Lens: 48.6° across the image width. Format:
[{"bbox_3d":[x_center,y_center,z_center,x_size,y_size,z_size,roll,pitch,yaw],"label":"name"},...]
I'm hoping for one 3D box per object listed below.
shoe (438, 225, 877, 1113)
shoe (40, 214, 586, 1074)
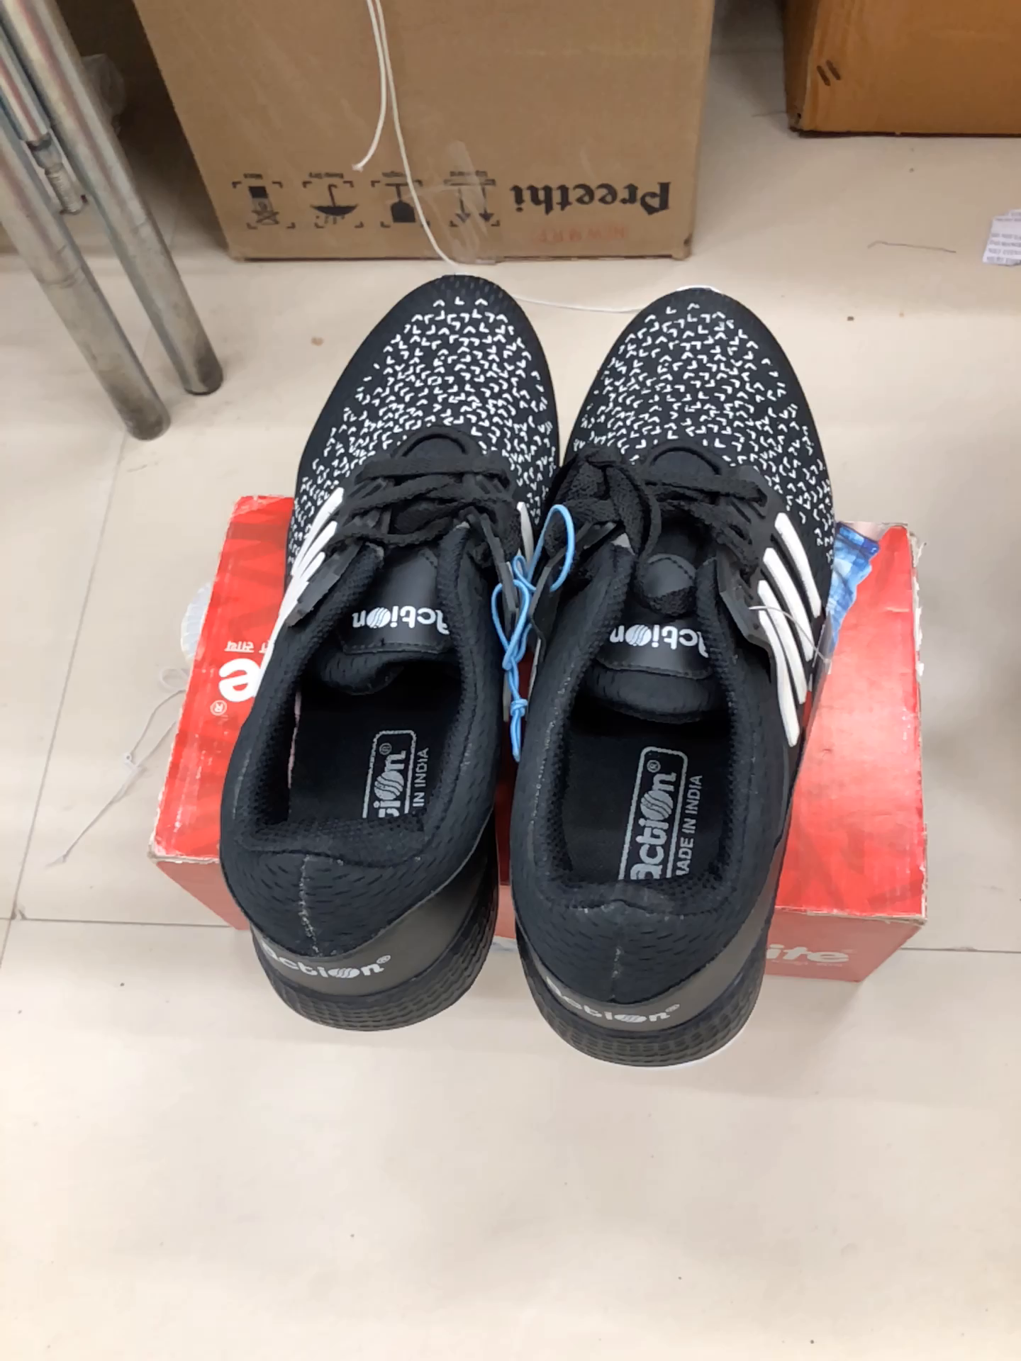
[{"bbox_3d":[0.056,-0.010,0.374,0.101,0.103,0.267,6,65,7],"label":"shoe"},{"bbox_3d":[-0.044,-0.018,0.385,0.111,0.103,0.267,5,65,7],"label":"shoe"}]
